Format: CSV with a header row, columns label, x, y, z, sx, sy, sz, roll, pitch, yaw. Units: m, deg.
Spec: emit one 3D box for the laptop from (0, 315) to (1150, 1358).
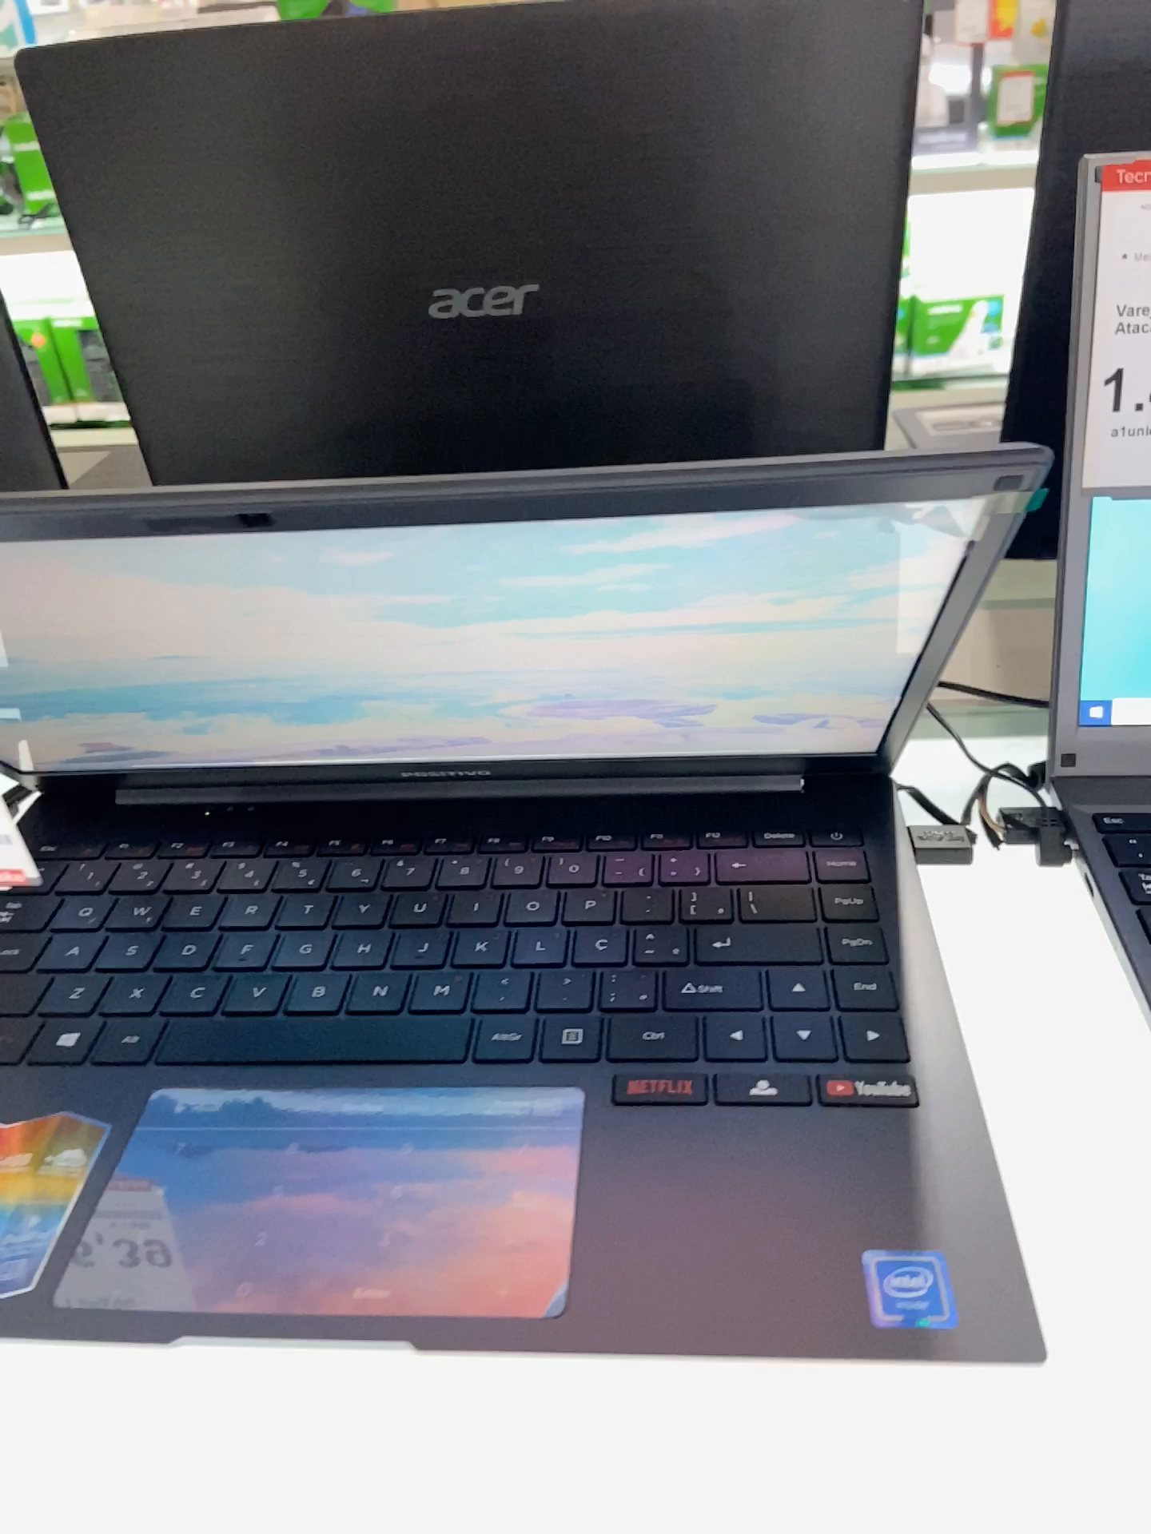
label,x,y,z,sx,sy,sz,roll,pitch,yaw
laptop,-0.062,-0.001,0.325,0.333,0.163,0.223,-1,33,6
